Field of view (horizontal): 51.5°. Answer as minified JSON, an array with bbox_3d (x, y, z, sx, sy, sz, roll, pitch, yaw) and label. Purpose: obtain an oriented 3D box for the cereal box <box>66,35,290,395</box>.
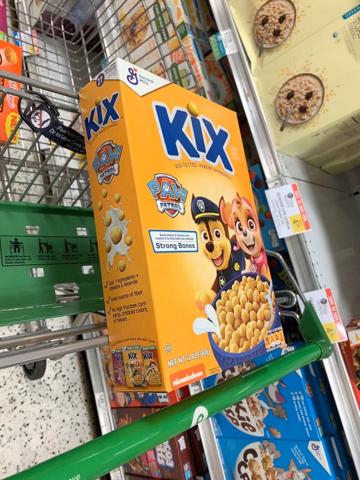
[{"bbox_3d":[0.004,-0.024,0.422,0.211,0.079,0.321,2,74,-48],"label":"cereal box"}]
